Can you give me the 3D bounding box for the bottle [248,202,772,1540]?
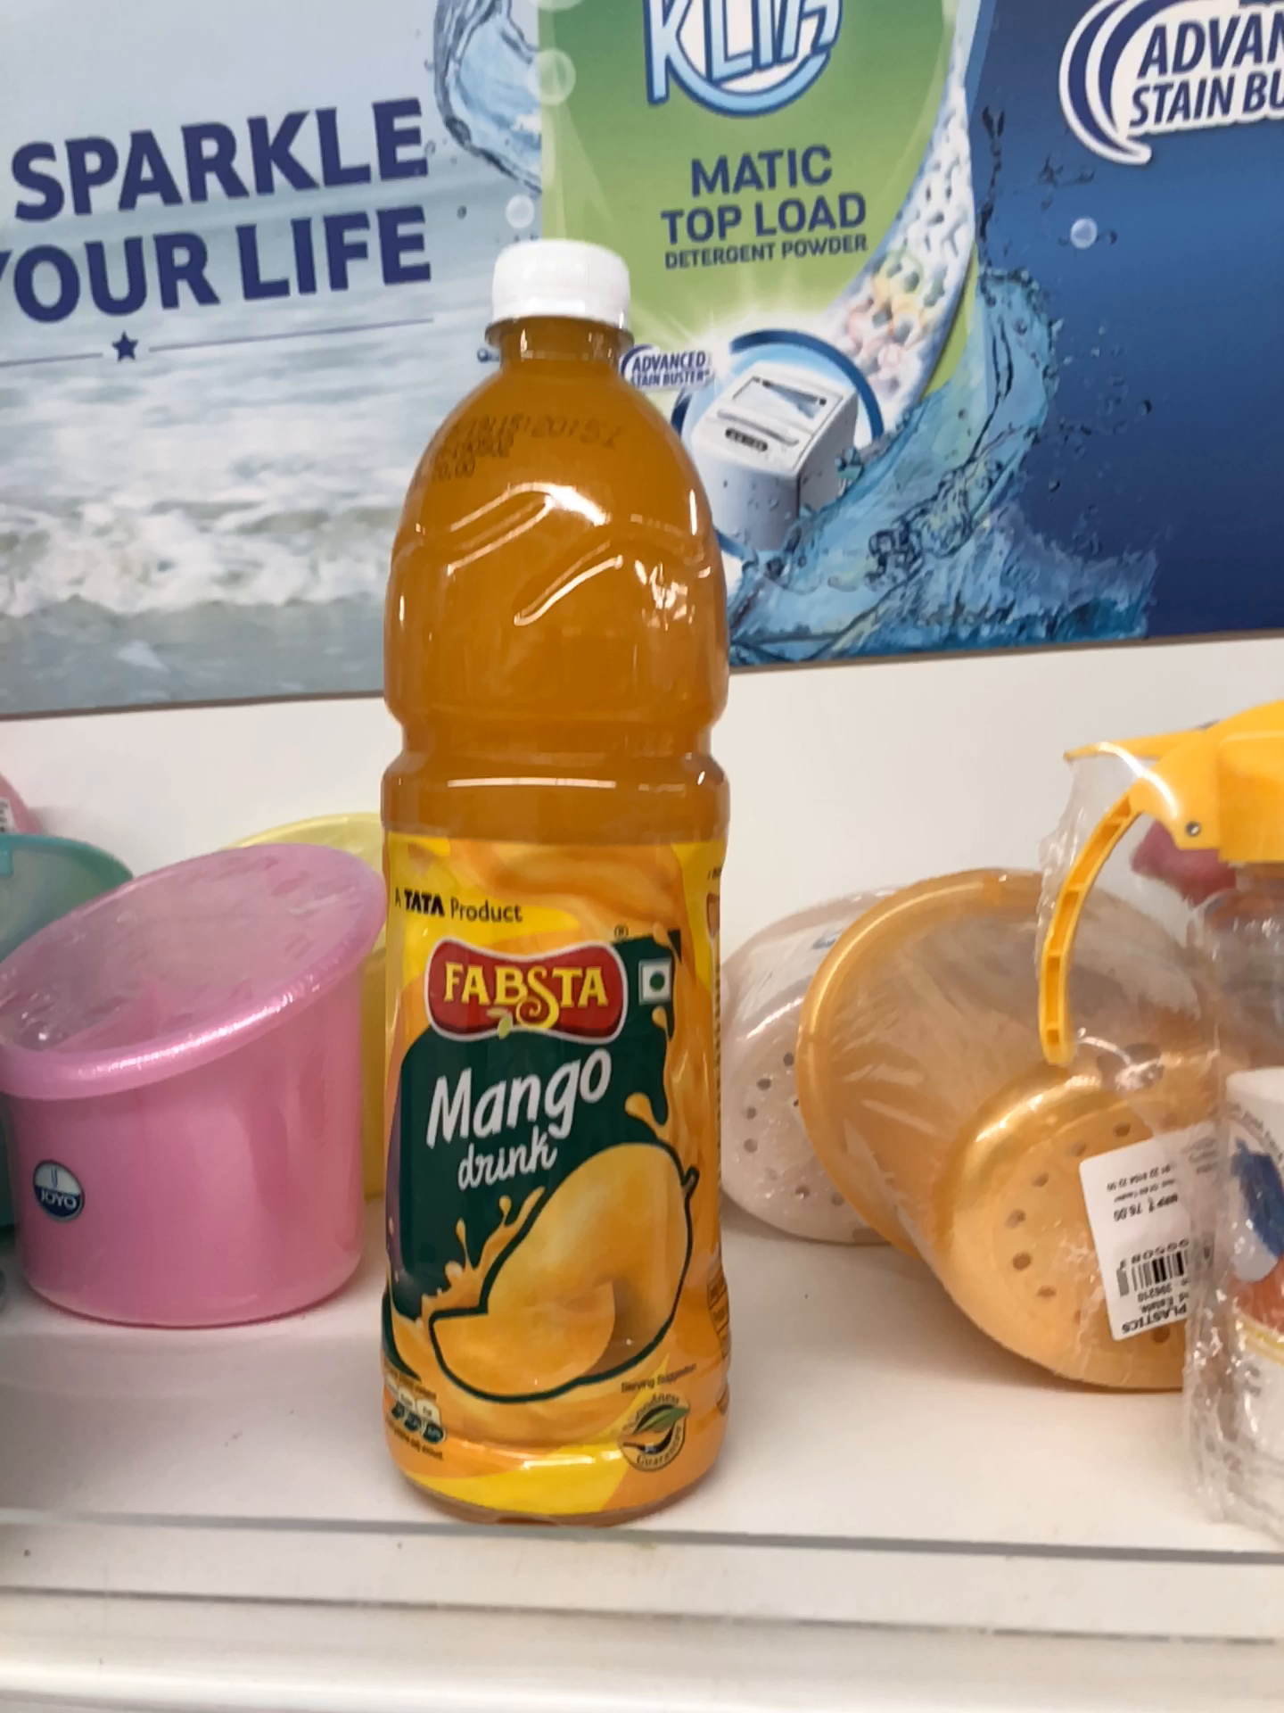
[{"bbox_3d":[-0.022,0.005,0.319,0.090,0.260,0.080,-2,4,4],"label":"bottle"}]
